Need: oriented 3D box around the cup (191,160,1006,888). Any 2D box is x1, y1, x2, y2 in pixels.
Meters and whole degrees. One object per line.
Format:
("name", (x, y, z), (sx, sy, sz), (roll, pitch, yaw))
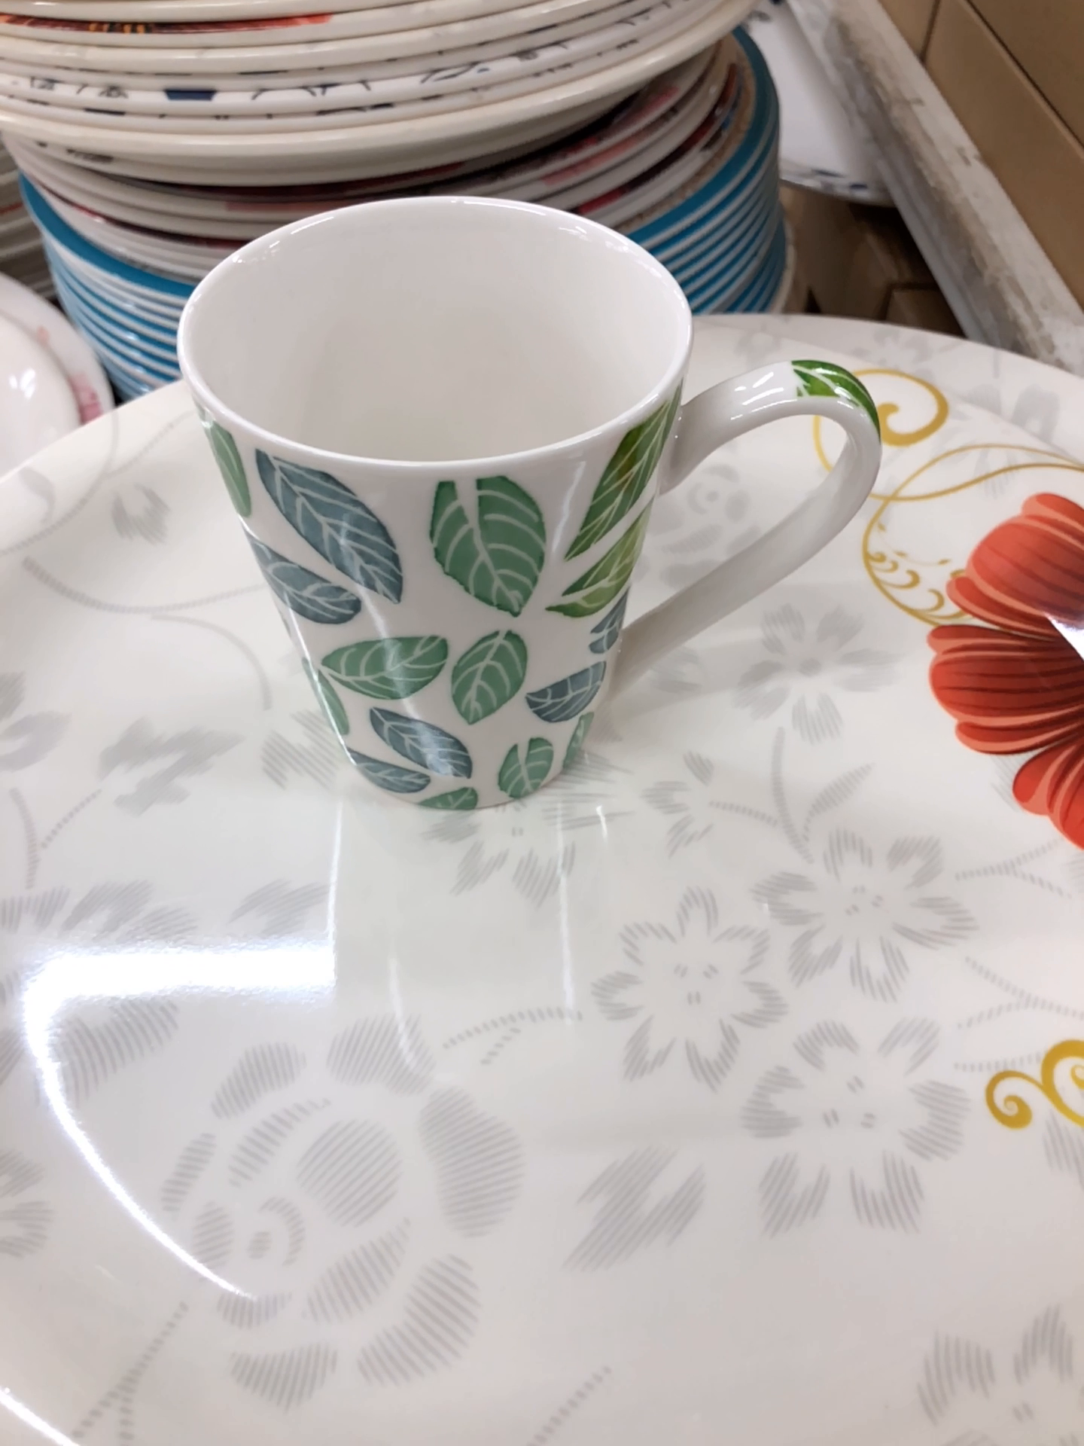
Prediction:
("cup", (0.006, -0.036, 0.249), (0.120, 0.119, 0.080), (-3, 51, -4))
